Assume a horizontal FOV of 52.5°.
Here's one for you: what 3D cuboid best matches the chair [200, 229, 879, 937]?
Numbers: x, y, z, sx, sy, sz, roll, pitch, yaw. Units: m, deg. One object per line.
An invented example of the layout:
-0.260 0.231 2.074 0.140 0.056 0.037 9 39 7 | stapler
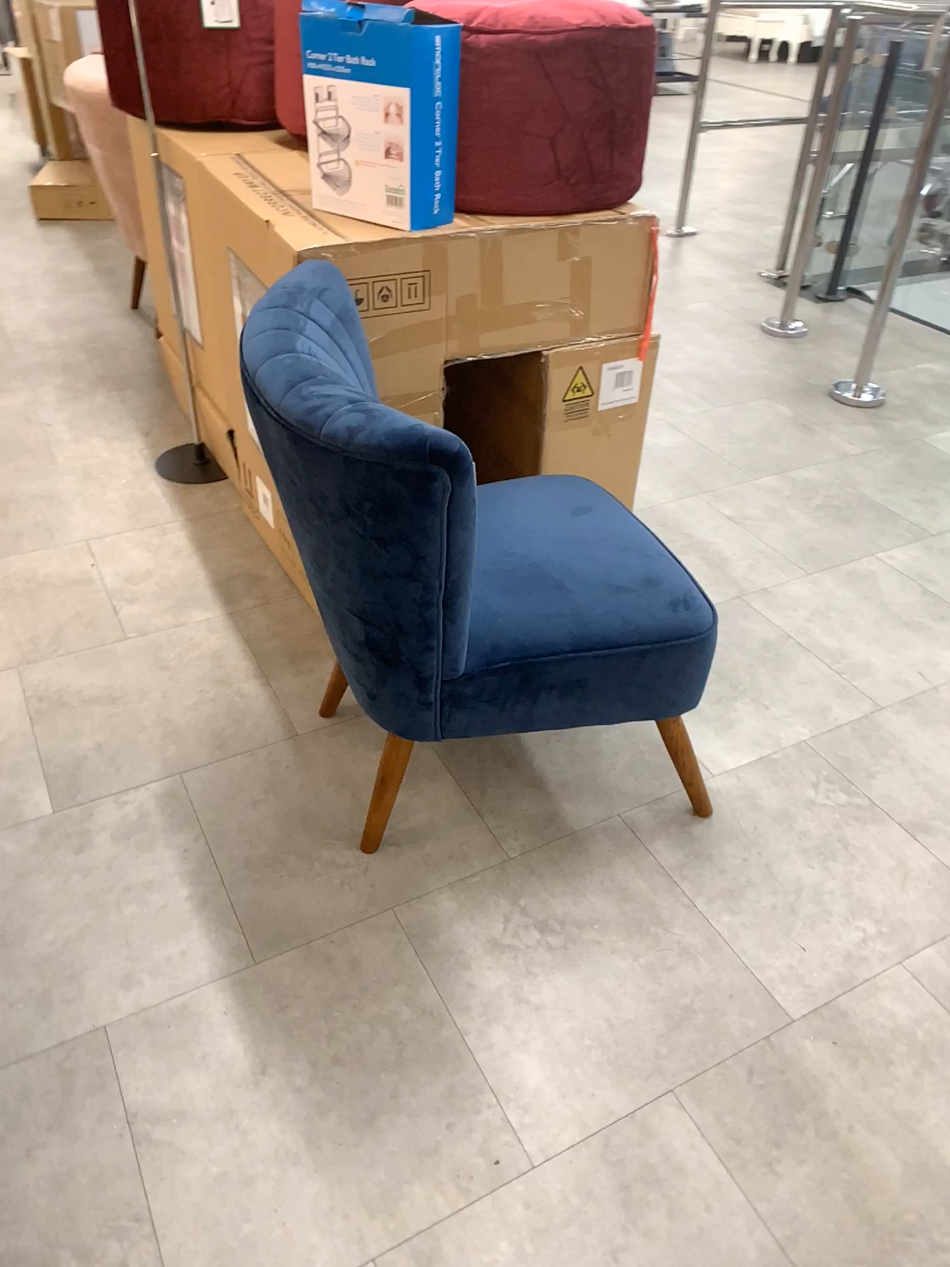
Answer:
0.029 -0.136 1.582 0.721 0.792 0.696 -13 39 -20 | chair
